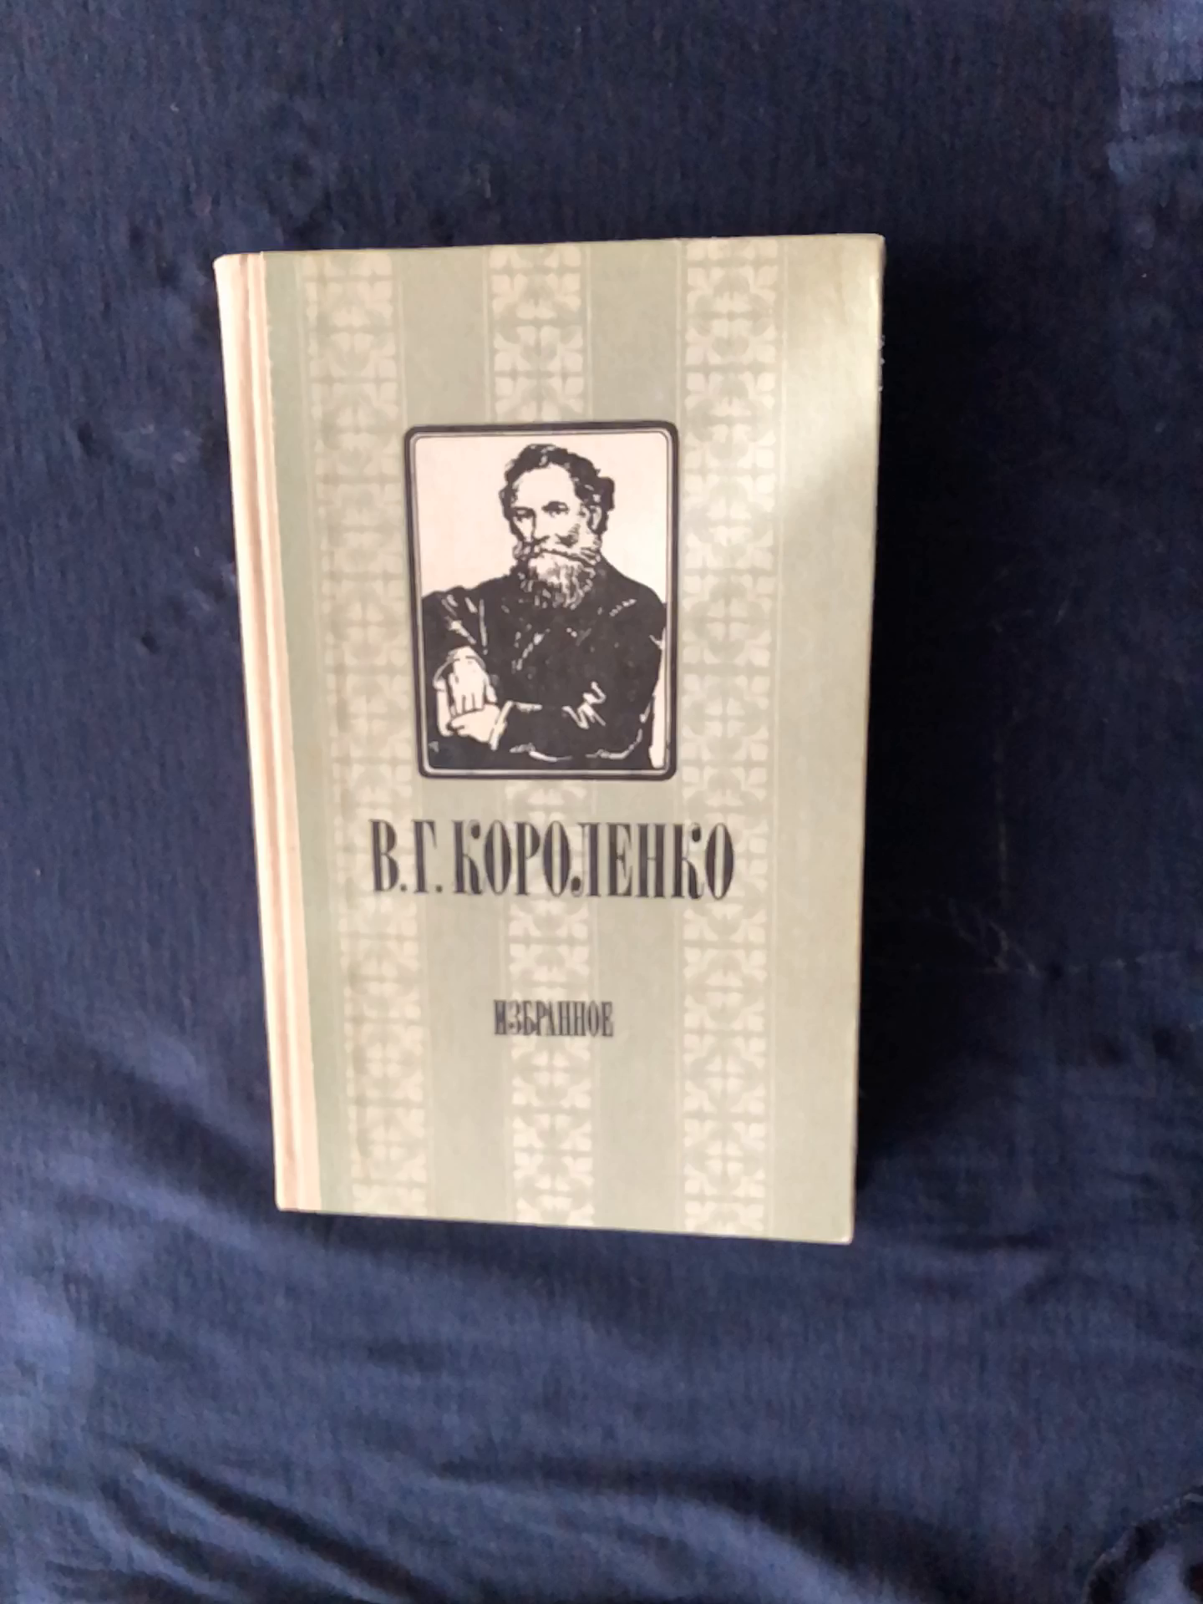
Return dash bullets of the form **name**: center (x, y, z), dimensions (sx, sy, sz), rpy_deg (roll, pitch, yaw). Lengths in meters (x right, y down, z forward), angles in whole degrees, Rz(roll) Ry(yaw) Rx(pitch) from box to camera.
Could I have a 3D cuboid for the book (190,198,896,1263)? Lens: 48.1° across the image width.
- **book**: center (-0.010, -0.010, 0.284), dimensions (0.132, 0.030, 0.210), rpy_deg (1, 101, 5)
